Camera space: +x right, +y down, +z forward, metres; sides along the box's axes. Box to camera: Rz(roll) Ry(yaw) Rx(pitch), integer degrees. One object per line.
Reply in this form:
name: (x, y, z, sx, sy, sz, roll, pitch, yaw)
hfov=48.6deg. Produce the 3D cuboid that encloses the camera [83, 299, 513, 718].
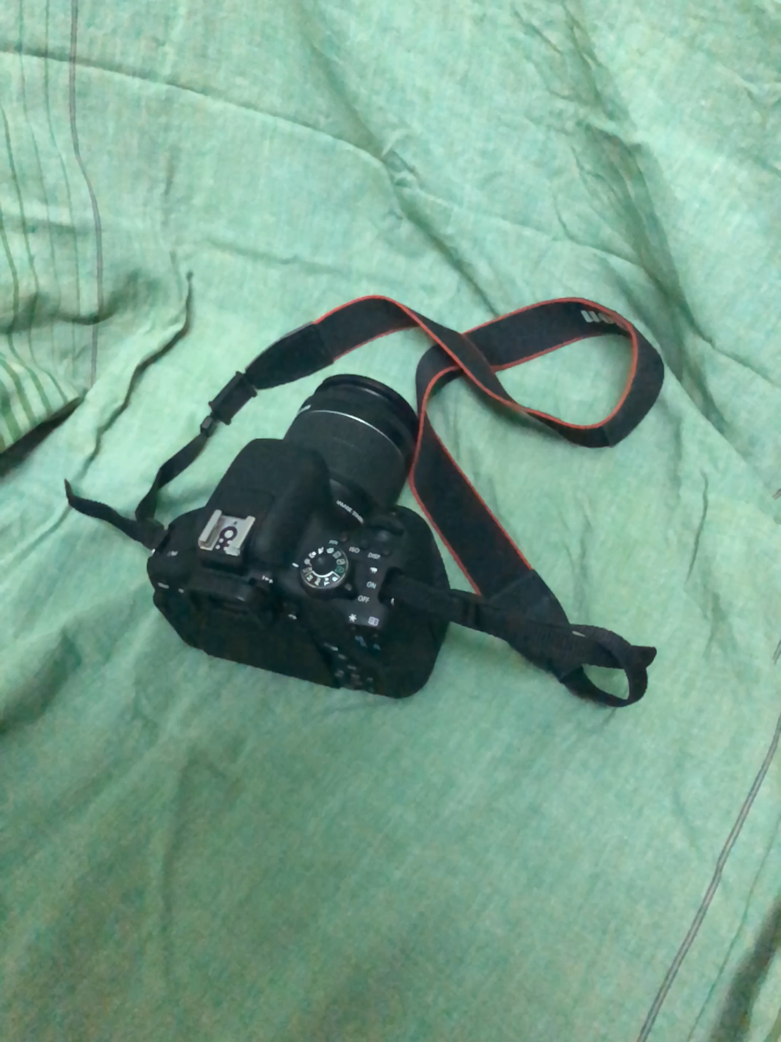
camera: (-0.030, -0.009, 0.412, 0.142, 0.100, 0.144, 12, 60, 17)
